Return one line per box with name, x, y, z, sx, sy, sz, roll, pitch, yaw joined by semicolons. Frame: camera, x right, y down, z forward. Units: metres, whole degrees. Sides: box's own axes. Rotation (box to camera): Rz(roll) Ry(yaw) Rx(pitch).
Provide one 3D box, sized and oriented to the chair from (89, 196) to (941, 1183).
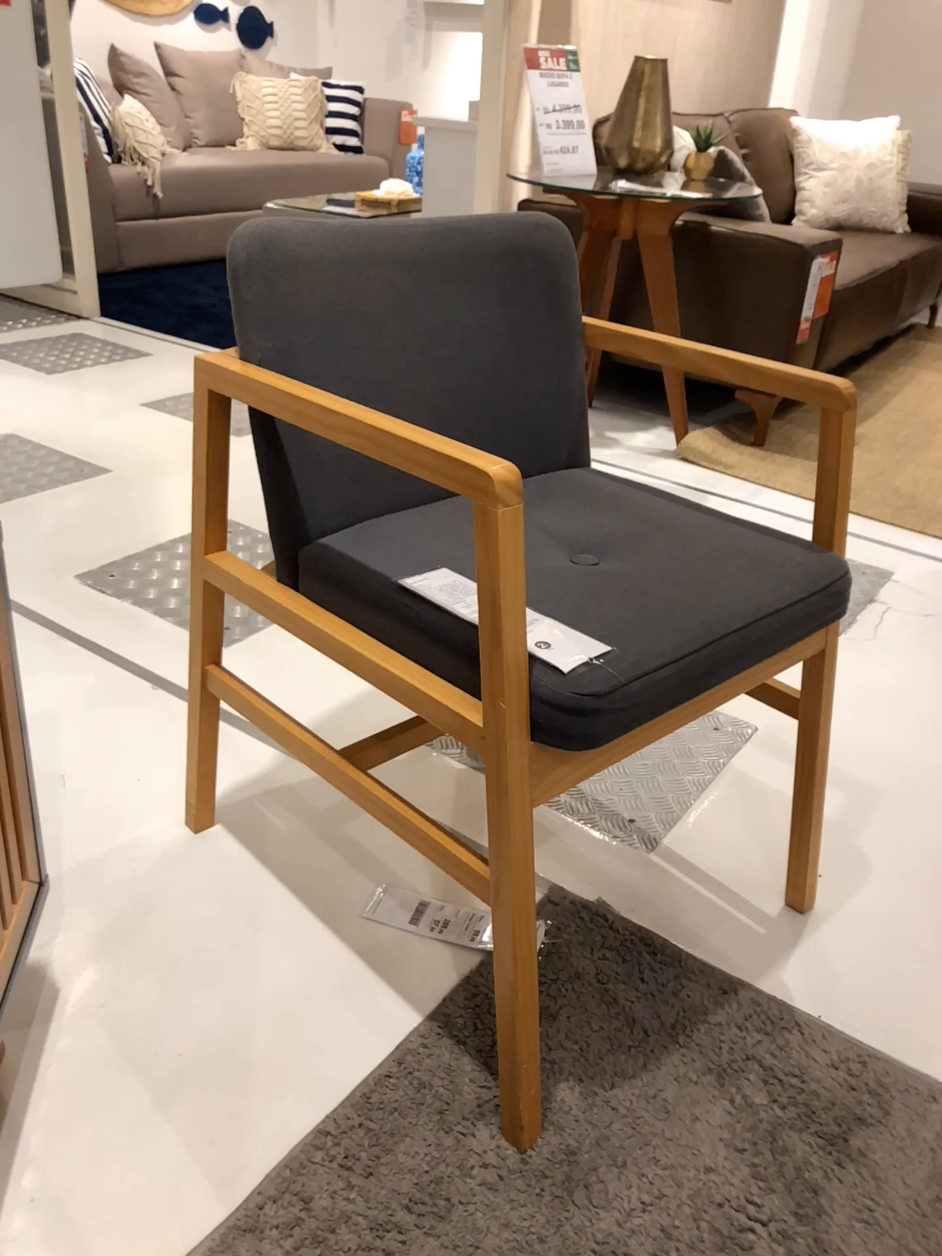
chair;0.042;-0.040;1.158;0.563;0.735;0.702;-22;37;-40
